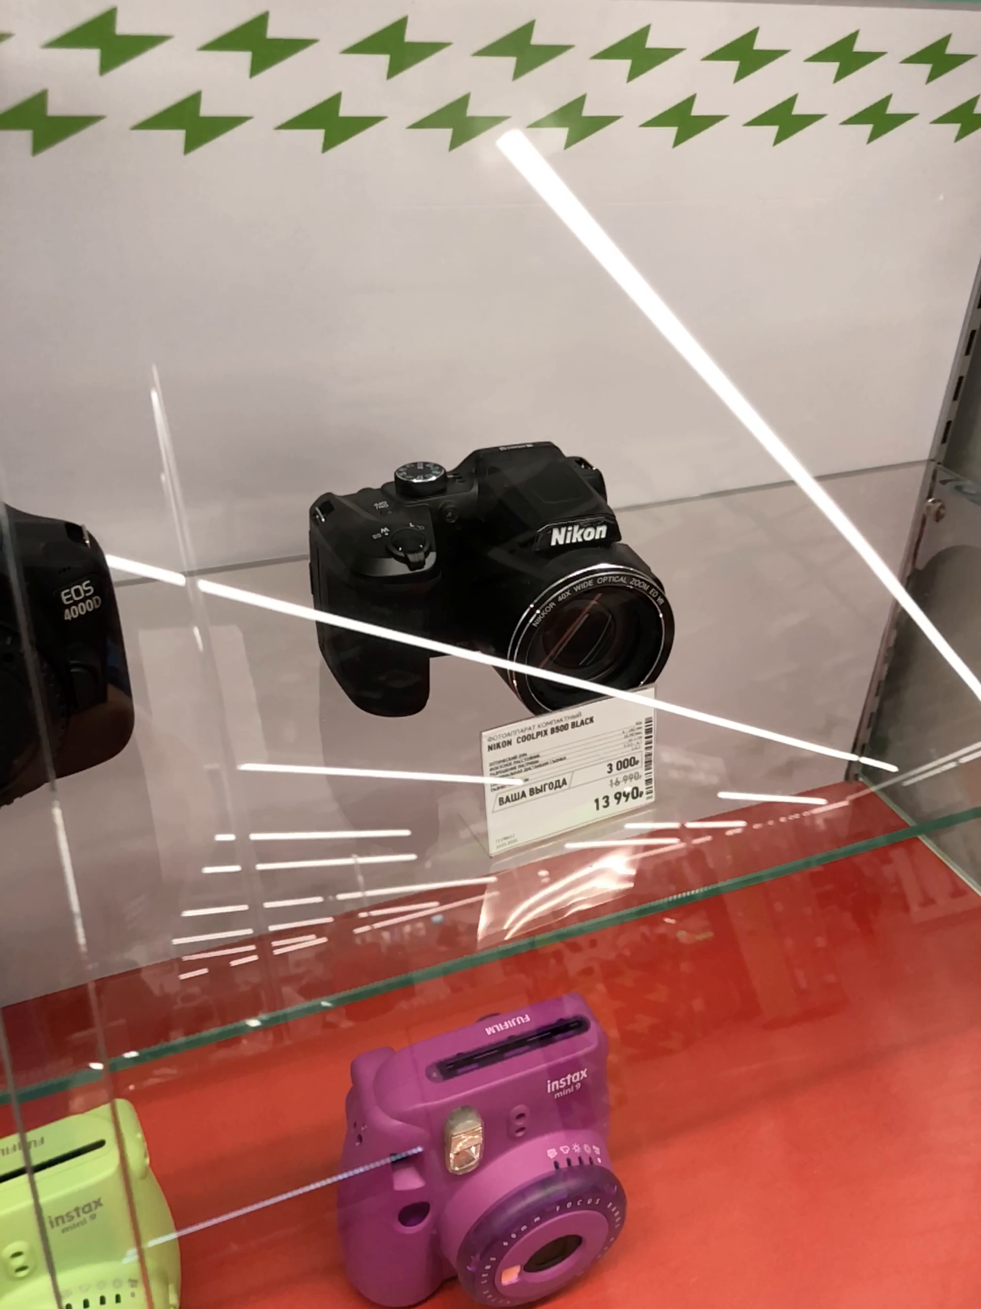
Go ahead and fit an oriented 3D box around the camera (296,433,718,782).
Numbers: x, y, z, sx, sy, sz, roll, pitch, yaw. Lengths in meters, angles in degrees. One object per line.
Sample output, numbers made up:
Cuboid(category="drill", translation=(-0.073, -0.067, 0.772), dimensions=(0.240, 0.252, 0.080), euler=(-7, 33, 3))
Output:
Cuboid(category="camera", translation=(0.000, -0.023, 0.388), dimensions=(0.115, 0.070, 0.100), euler=(-10, 34, -19))
